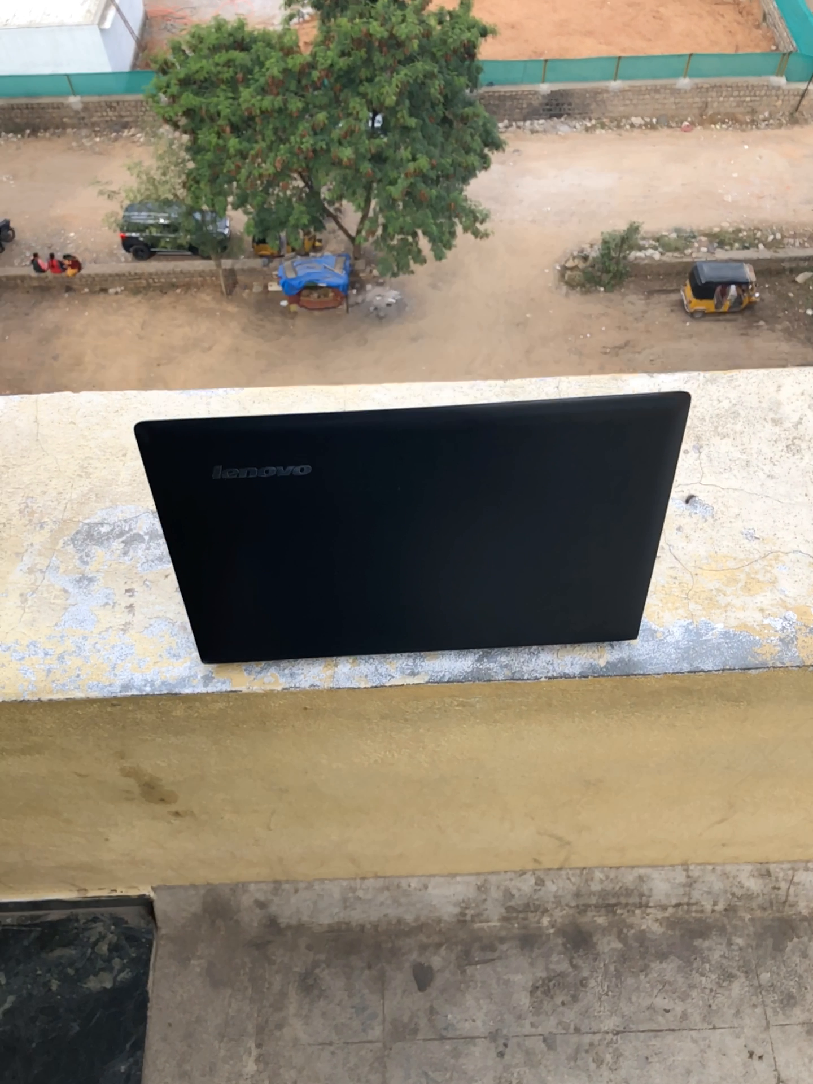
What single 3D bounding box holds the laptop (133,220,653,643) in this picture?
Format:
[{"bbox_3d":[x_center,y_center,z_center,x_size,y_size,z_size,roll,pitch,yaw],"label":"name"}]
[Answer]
[{"bbox_3d":[-0.013,-0.083,0.736,0.333,0.223,0.246,-3,58,0],"label":"laptop"}]
